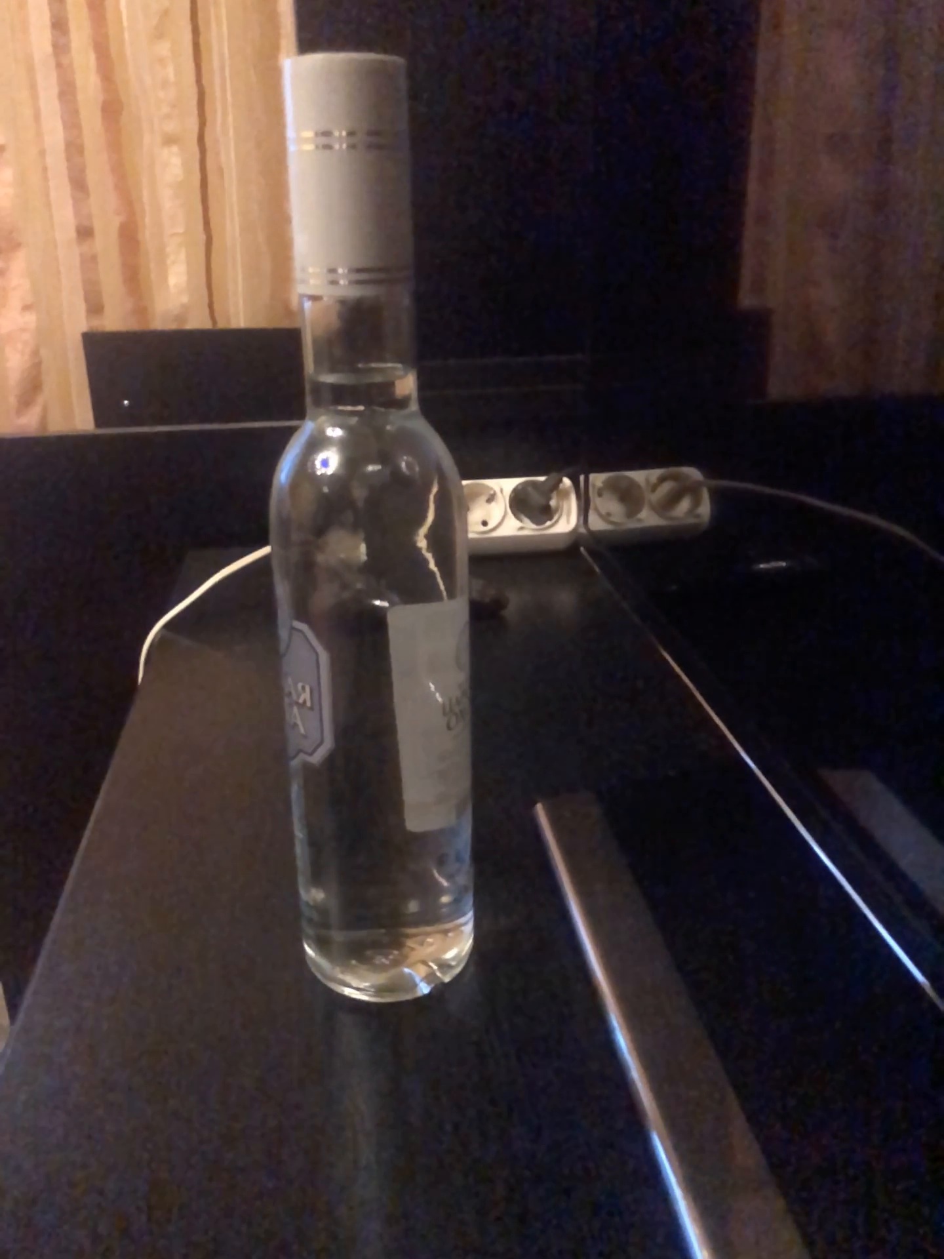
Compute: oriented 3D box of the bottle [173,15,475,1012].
[{"bbox_3d":[-0.037,-0.021,0.328,0.067,0.290,0.065,-1,21,0],"label":"bottle"}]
